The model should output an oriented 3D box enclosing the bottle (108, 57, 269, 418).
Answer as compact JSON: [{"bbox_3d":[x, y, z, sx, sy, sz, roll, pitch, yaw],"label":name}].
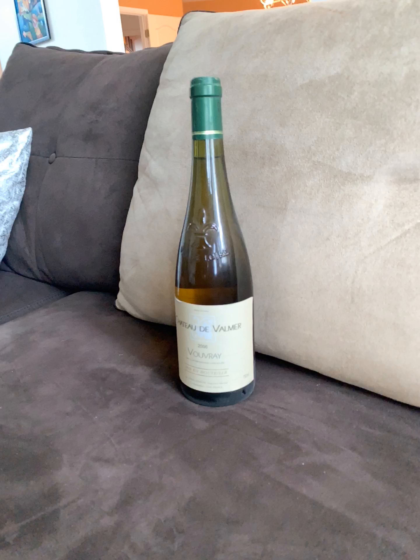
[{"bbox_3d":[-0.006,-0.031,0.410,0.100,0.309,0.090,3,22,18],"label":"bottle"}]
